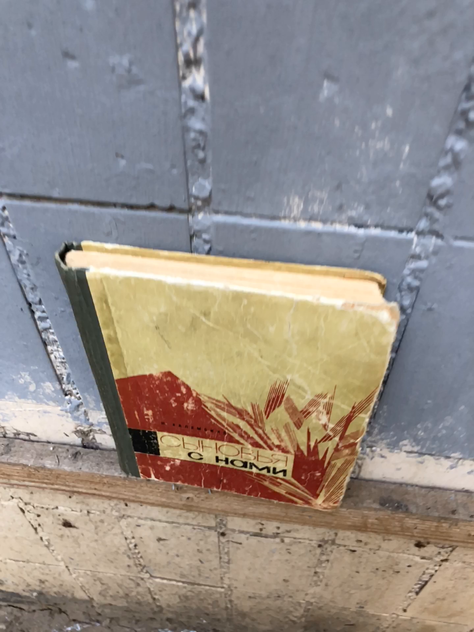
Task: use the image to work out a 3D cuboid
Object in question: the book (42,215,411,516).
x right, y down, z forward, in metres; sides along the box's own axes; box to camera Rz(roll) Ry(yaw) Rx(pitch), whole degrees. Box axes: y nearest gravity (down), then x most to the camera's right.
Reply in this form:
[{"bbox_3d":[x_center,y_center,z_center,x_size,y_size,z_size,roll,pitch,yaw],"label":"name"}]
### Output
[{"bbox_3d":[-0.005,0.035,0.264,0.140,0.162,0.032,7,43,7],"label":"book"}]
